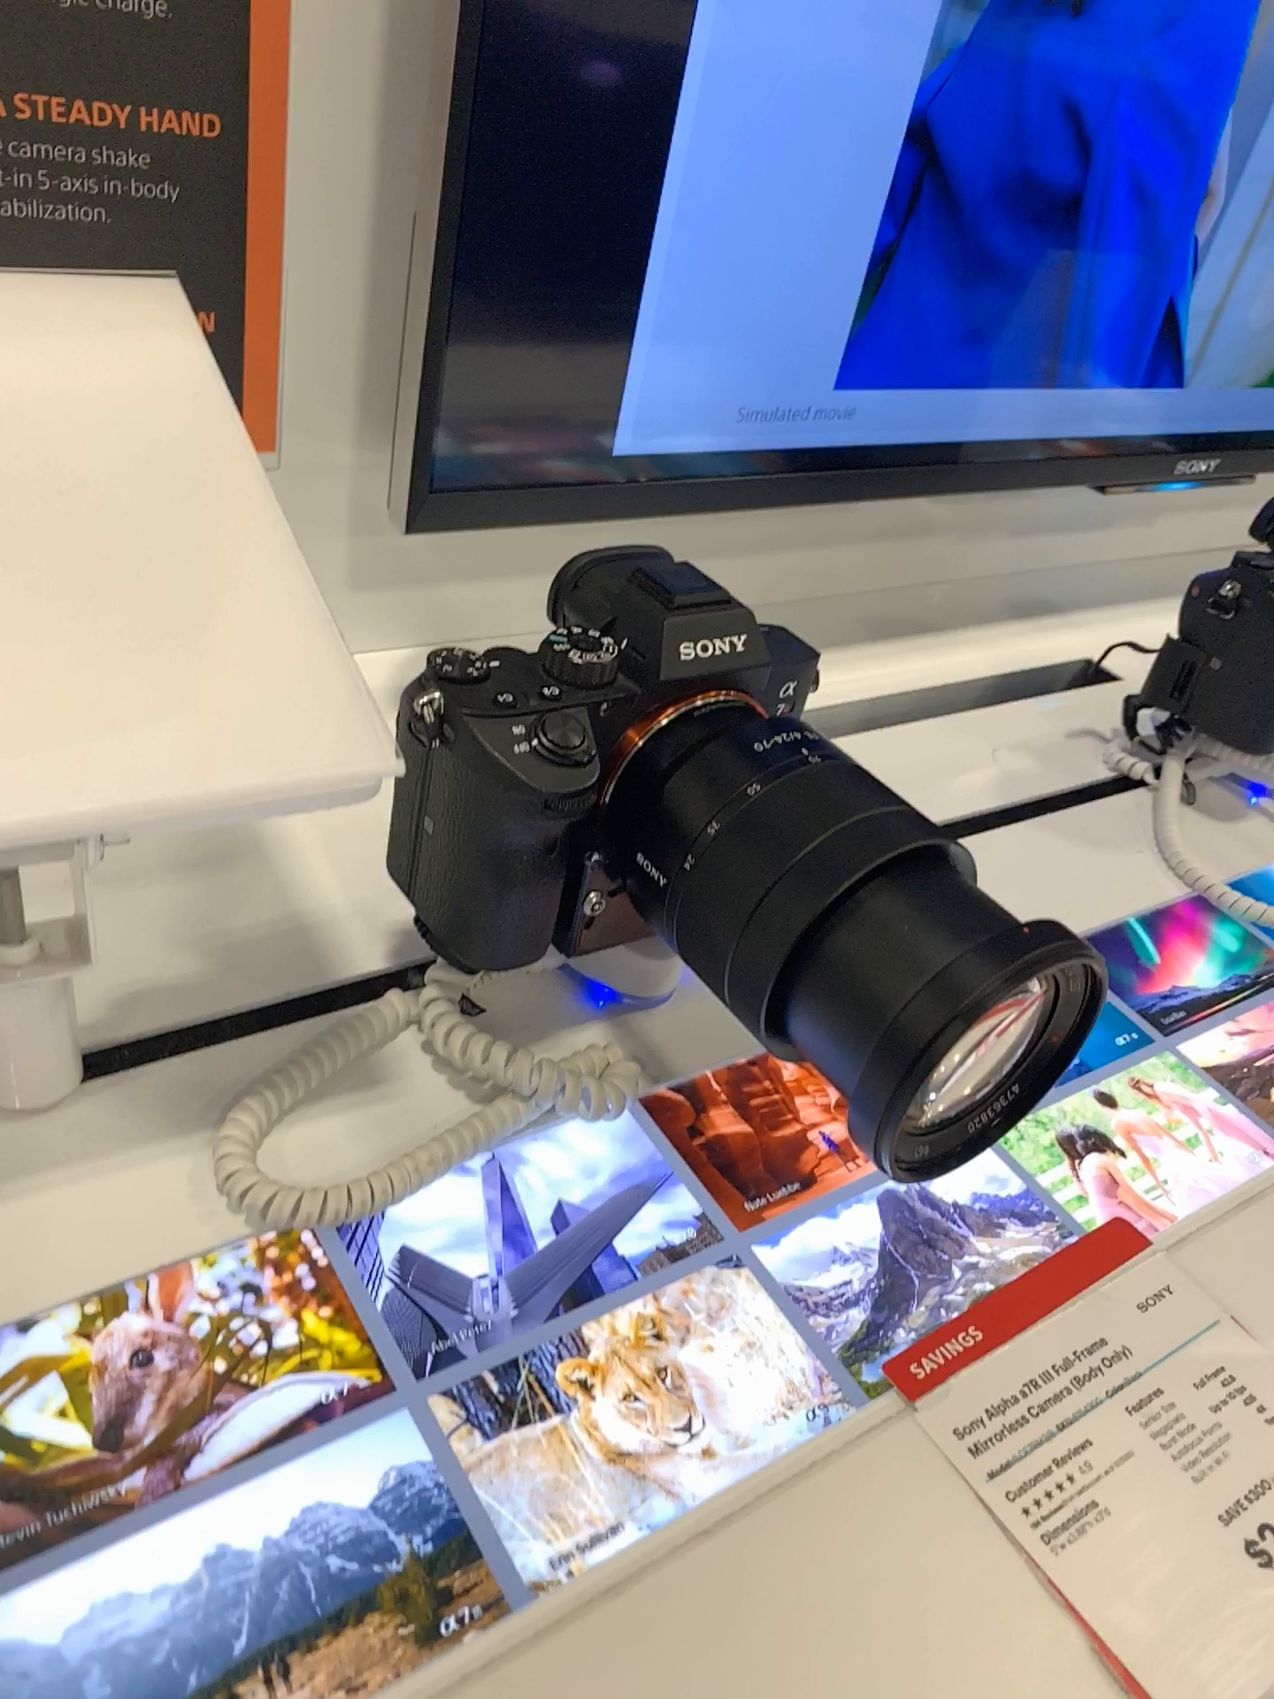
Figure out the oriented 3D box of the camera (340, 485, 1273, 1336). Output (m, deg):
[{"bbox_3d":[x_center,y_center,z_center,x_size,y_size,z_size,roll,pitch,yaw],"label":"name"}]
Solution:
[{"bbox_3d":[0.028,-0.005,0.346,0.130,0.099,0.193,-17,45,-35],"label":"camera"}]
